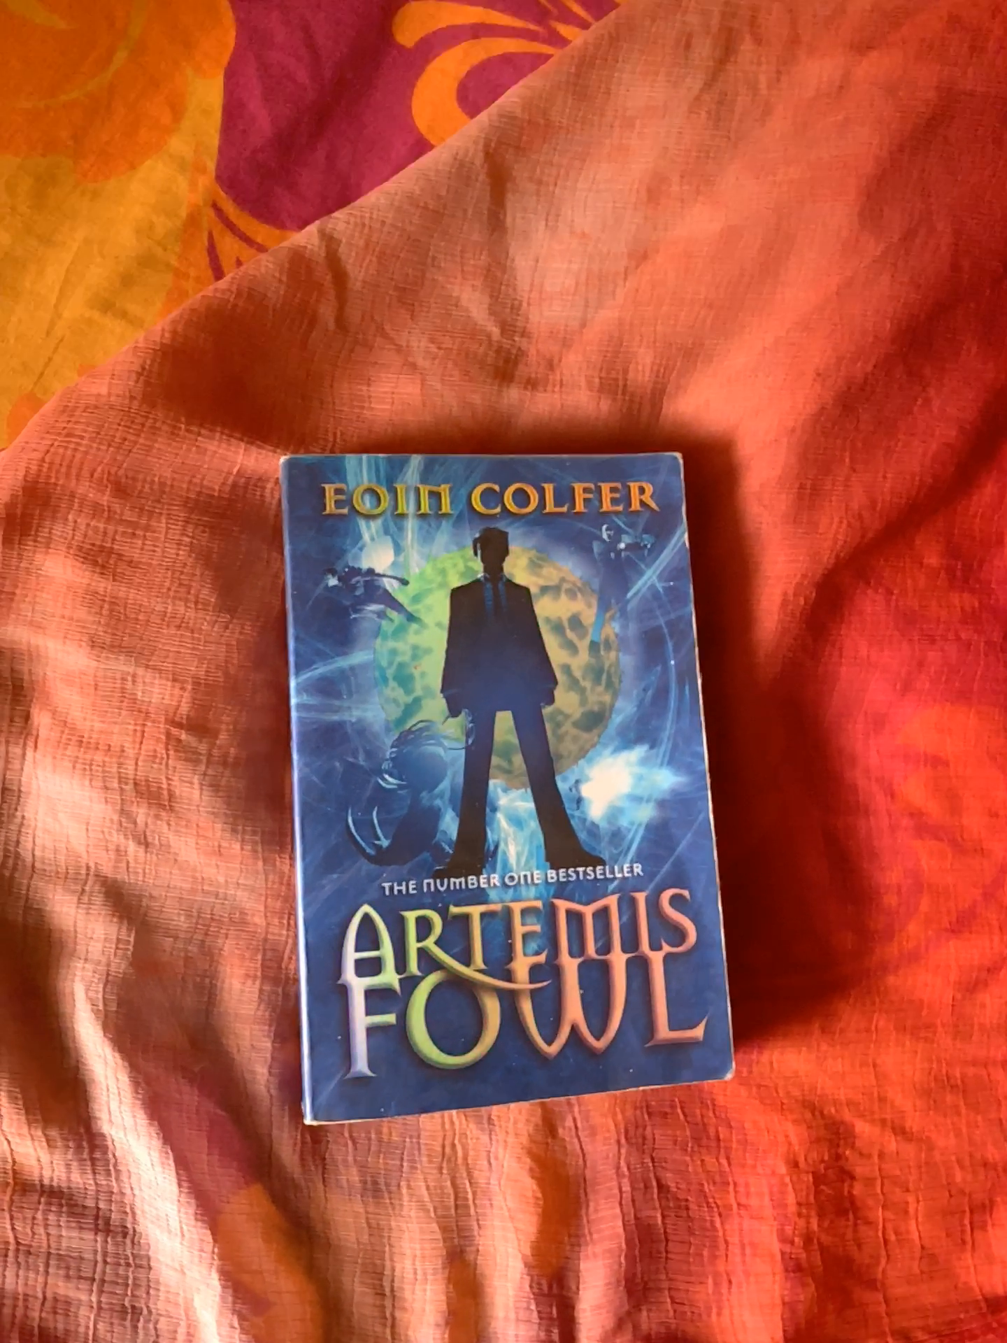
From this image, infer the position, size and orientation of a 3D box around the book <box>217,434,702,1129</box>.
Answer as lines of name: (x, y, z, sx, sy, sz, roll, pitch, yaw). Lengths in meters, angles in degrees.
book: (-0.014, 0.027, 0.311, 0.130, 0.030, 0.190, -2, 86, -8)
